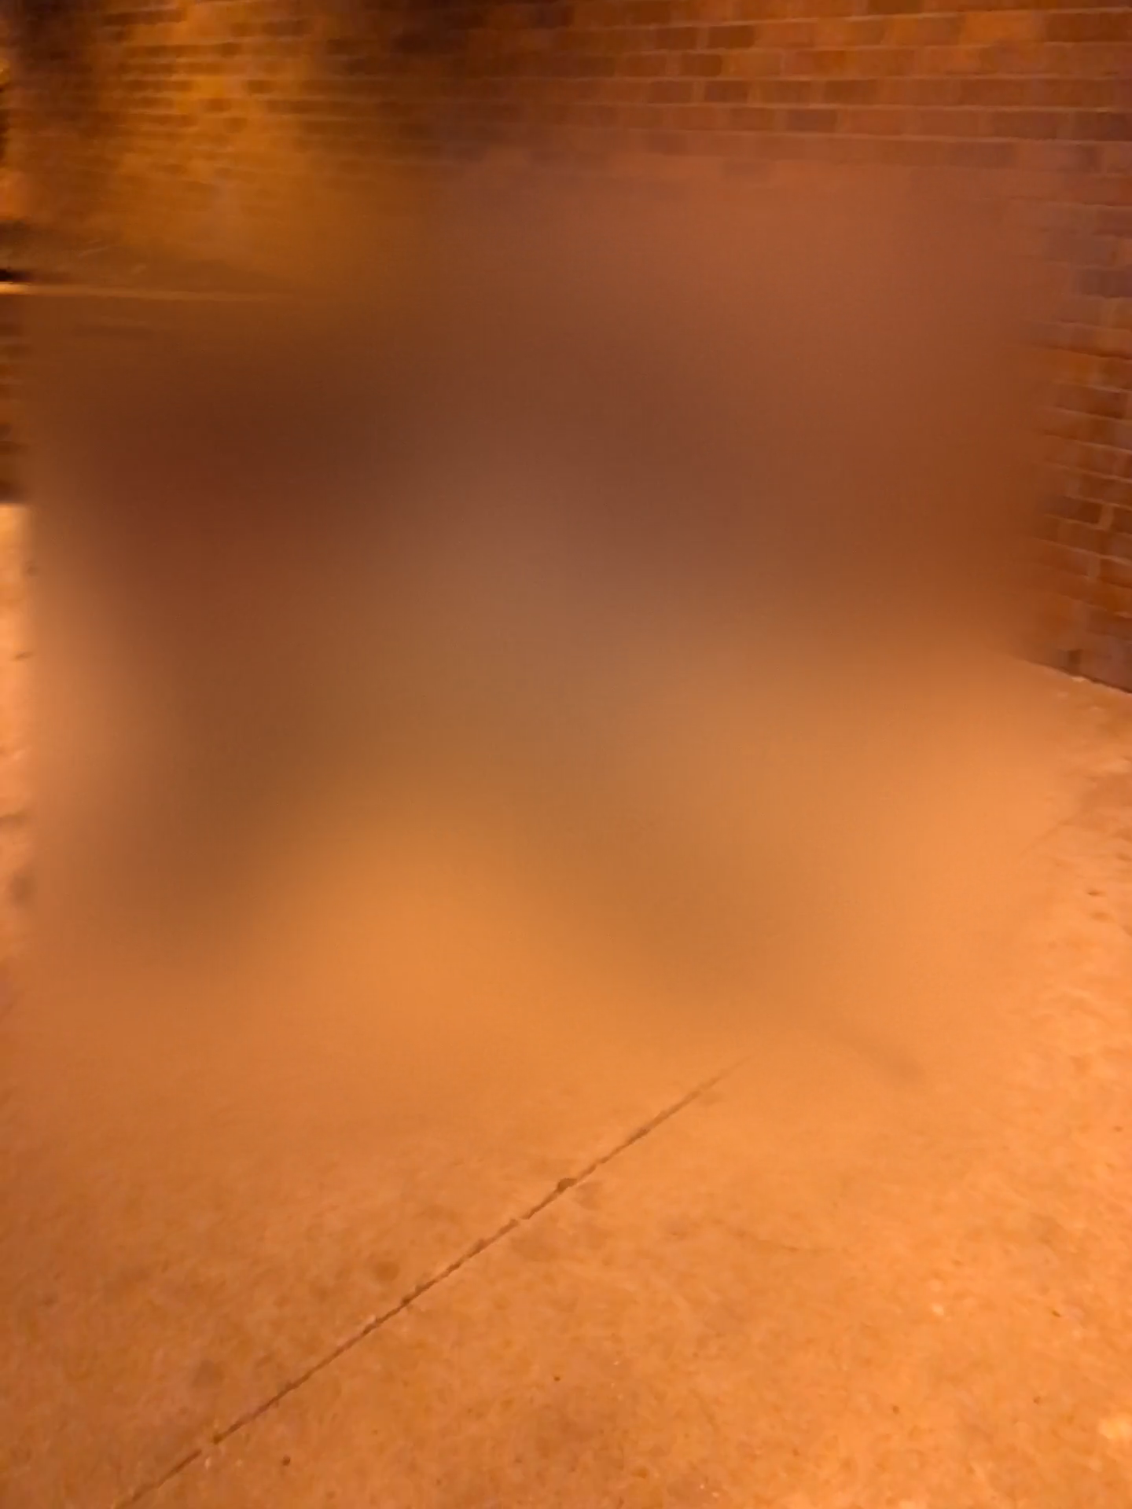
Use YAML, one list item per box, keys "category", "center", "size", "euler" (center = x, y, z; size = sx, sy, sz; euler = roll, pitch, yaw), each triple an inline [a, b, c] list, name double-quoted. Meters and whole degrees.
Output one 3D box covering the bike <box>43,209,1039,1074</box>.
- category: "bike"
  center: [-0.162, -0.370, 2.210]
  size: [1.648, 0.864, 0.639]
  euler: [29, 36, 35]
